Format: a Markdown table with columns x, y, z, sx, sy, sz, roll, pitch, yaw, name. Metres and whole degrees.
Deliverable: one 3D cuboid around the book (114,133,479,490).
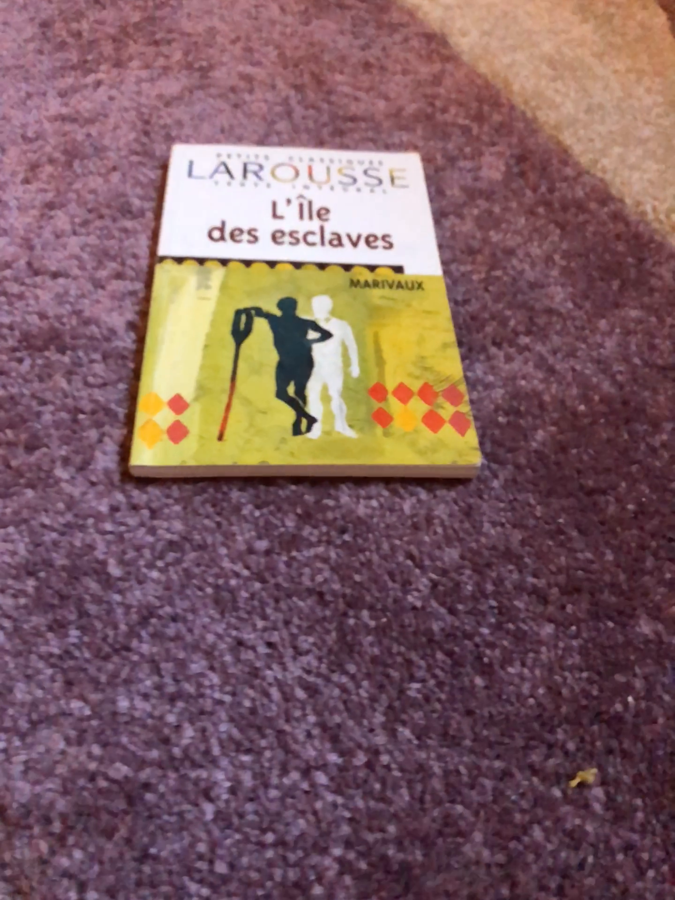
| x | y | z | sx | sy | sz | roll | pitch | yaw | name |
| --- | --- | --- | --- | --- | --- | --- | --- | --- | --- |
| -0.017 | -0.060 | 0.283 | 0.110 | 0.020 | 0.167 | 1 | 53 | -7 | book |
